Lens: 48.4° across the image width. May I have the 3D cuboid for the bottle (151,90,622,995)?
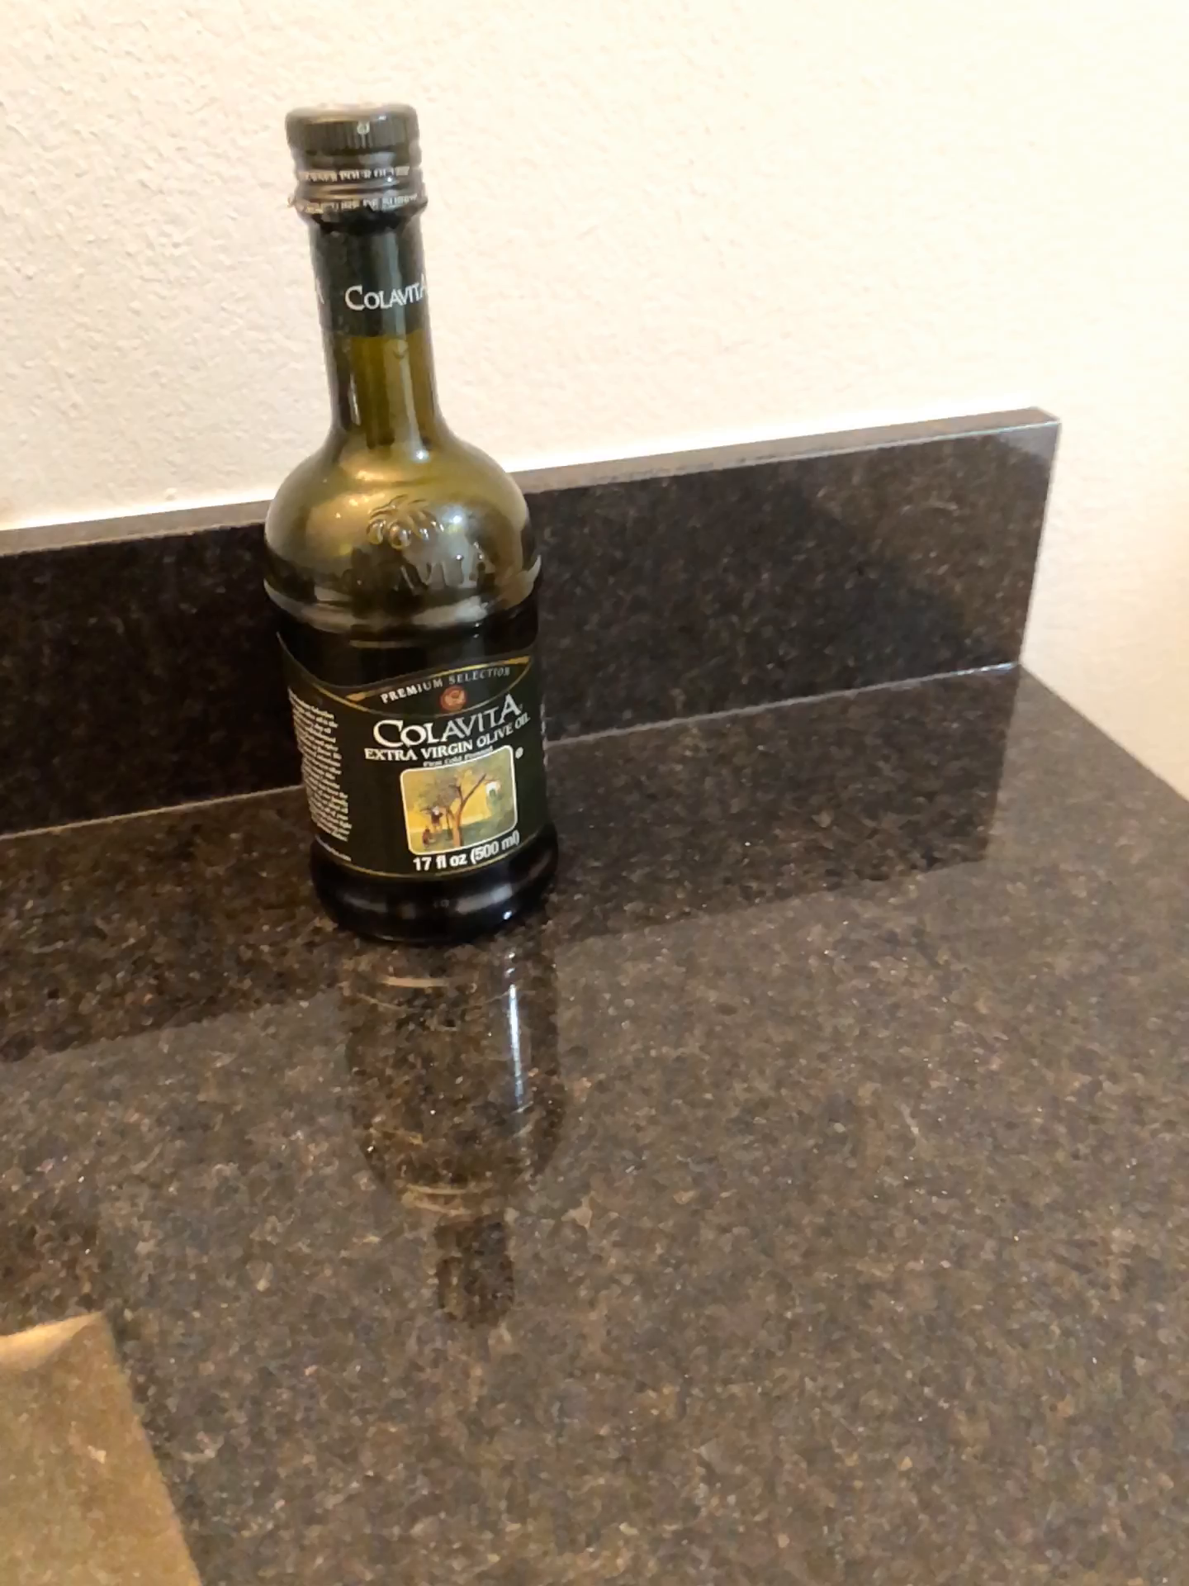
[{"bbox_3d":[-0.051,-0.066,0.369,0.090,0.219,0.090,-1,33,1],"label":"bottle"}]
